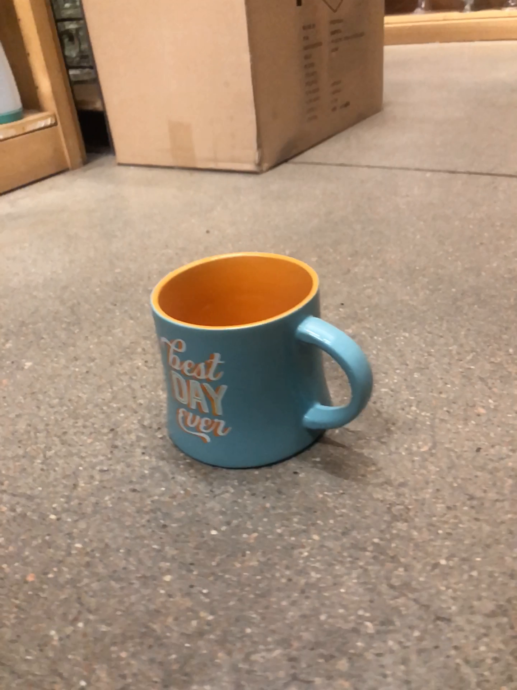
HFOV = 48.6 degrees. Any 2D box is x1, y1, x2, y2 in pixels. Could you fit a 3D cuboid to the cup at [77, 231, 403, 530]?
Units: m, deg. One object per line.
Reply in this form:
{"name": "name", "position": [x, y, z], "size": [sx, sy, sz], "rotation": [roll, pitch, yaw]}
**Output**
{"name": "cup", "position": [-0.008, 0.008, 0.337], "size": [0.143, 0.097, 0.108], "rotation": [19, 39, 35]}
